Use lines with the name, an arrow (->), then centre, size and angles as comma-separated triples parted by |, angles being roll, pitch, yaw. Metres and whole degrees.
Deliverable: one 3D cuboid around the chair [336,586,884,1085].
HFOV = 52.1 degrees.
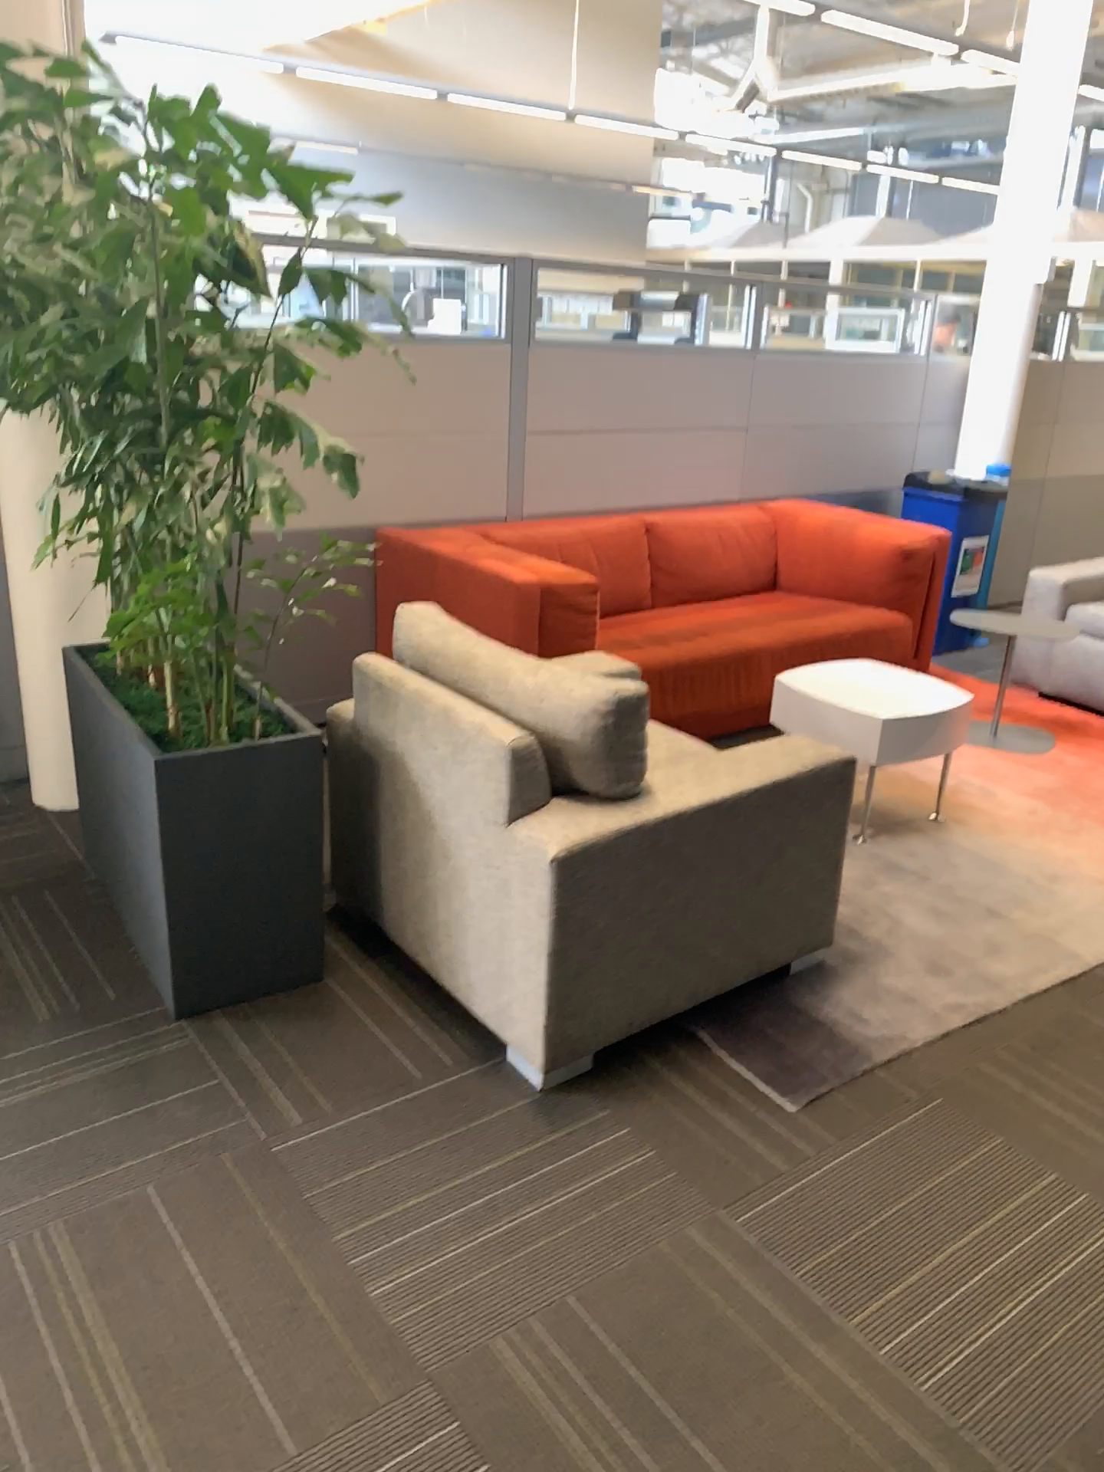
chair -> 0.098, 0.135, 2.716 | 0.871, 0.726, 0.924 | -13, 25, -37
